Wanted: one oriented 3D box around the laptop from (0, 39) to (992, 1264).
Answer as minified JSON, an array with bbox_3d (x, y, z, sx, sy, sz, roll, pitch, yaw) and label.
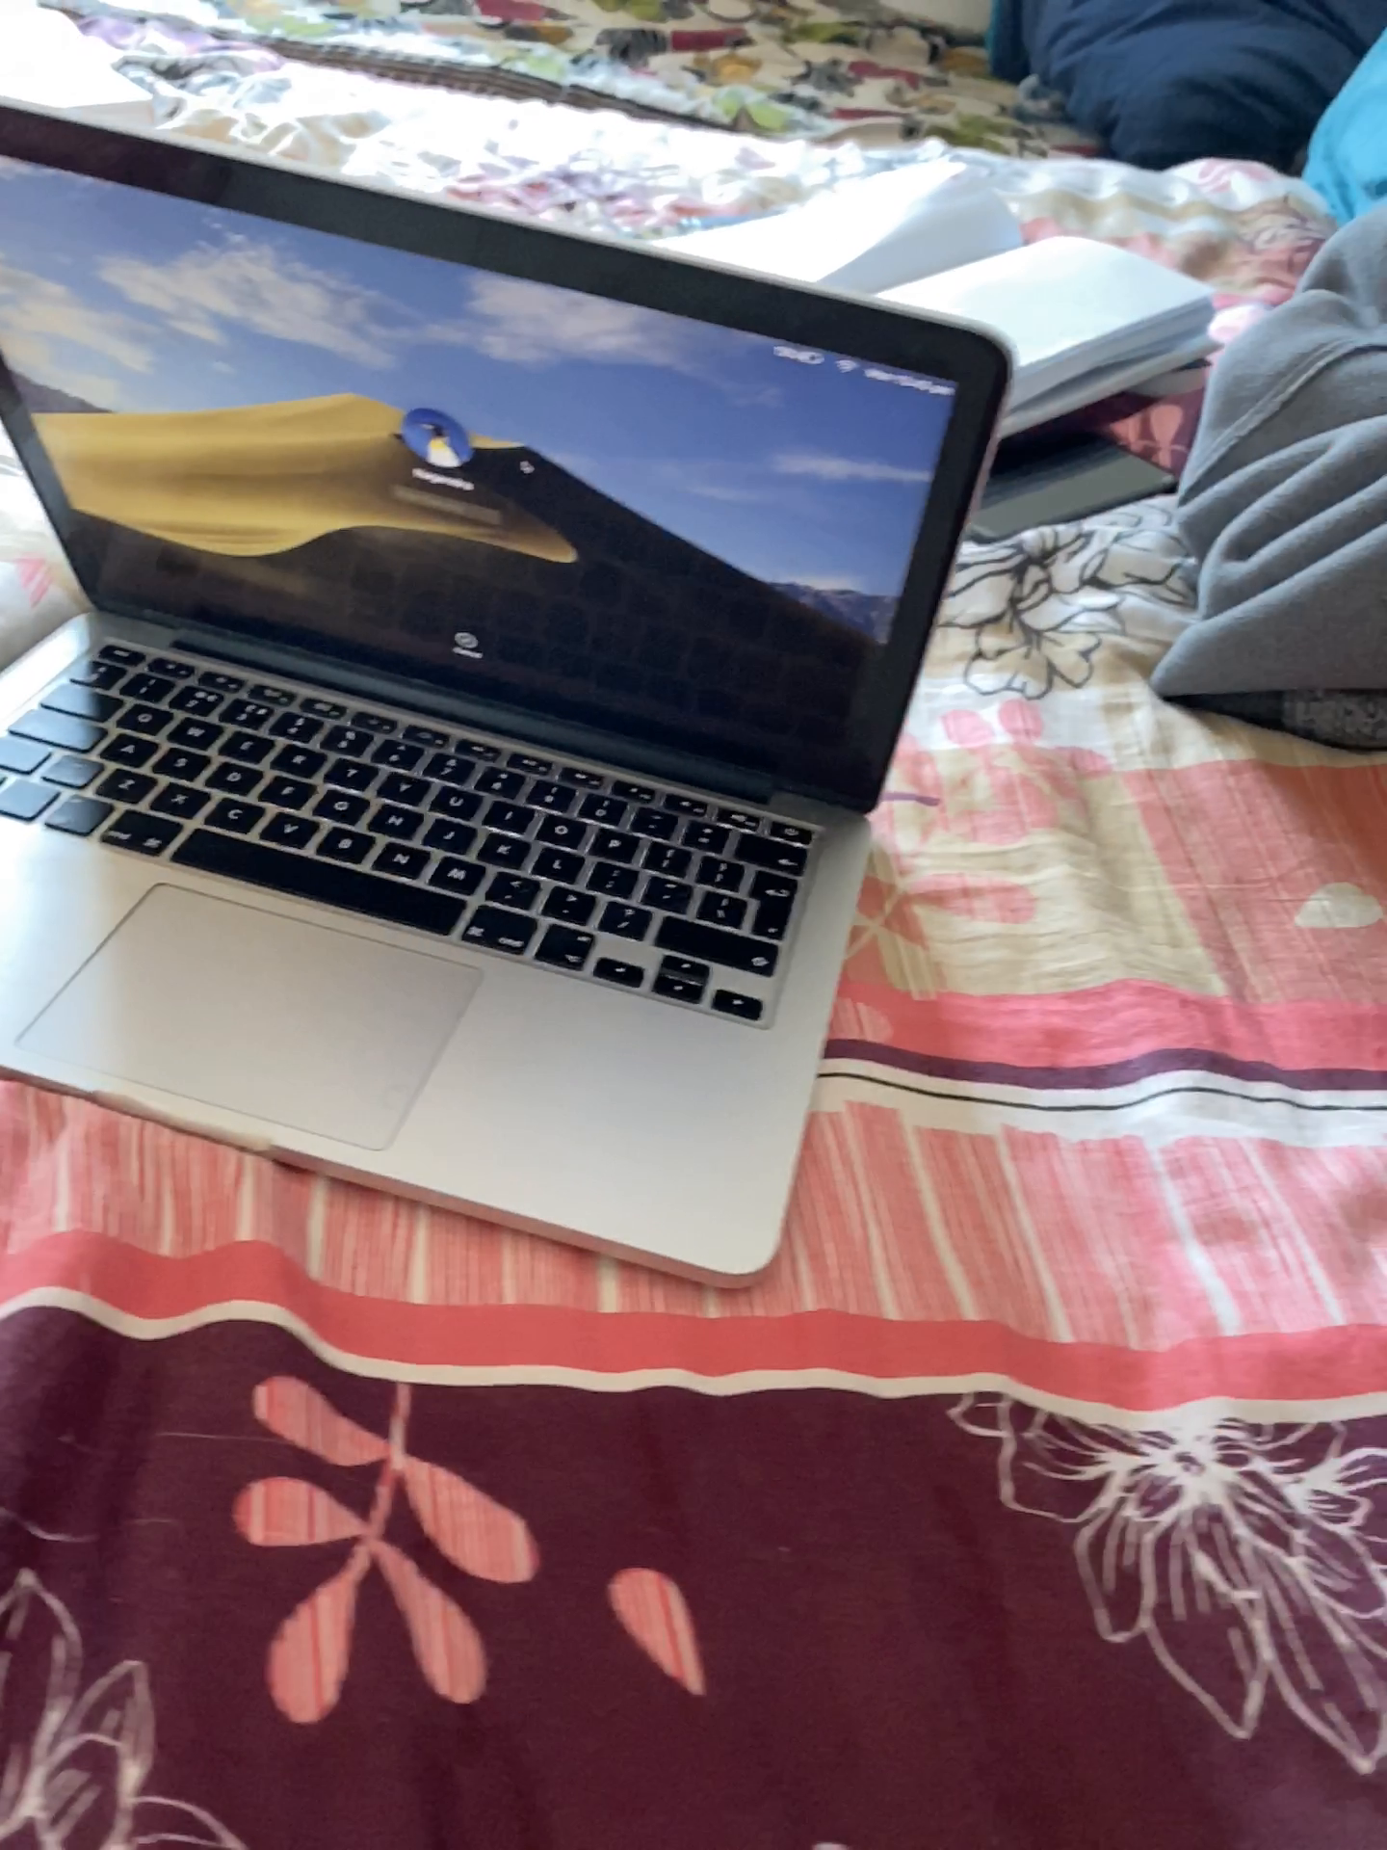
[{"bbox_3d":[-0.100,-0.087,0.388,0.303,0.191,0.203,15,42,6],"label":"laptop"}]
